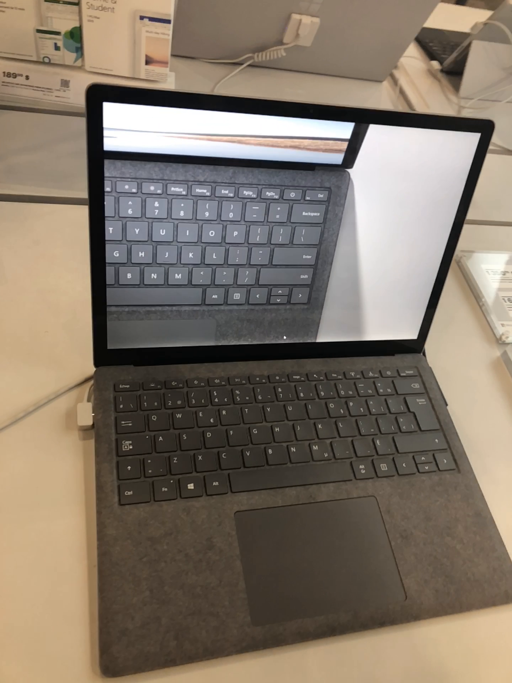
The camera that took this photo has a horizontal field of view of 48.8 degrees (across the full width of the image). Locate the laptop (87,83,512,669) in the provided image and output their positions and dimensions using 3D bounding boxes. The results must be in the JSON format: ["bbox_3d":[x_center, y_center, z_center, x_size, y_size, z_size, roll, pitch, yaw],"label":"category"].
[{"bbox_3d":[0.045,0.013,0.387,0.297,0.197,0.295,-2,54,-16],"label":"laptop"}]
